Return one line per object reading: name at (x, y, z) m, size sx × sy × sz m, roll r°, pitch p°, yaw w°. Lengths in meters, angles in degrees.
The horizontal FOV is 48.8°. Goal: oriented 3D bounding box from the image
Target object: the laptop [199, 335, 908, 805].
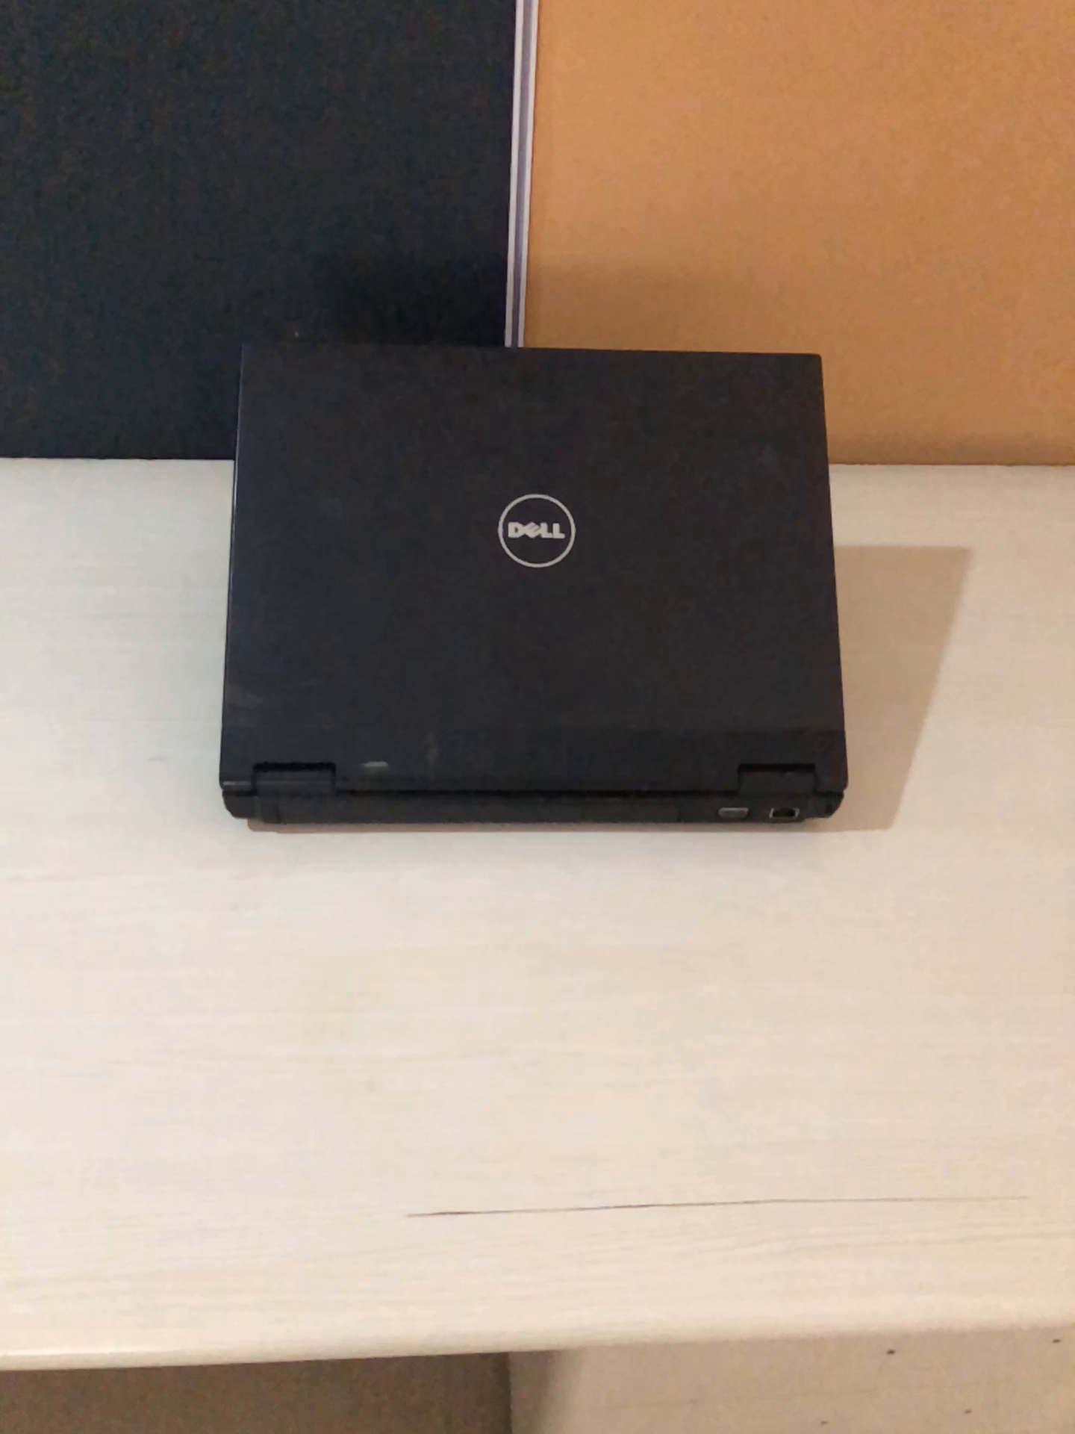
laptop at (0.002, -0.083, 0.625) m, size 0.302 × 0.126 × 0.226 m, roll 0°, pitch 46°, yaw -3°
